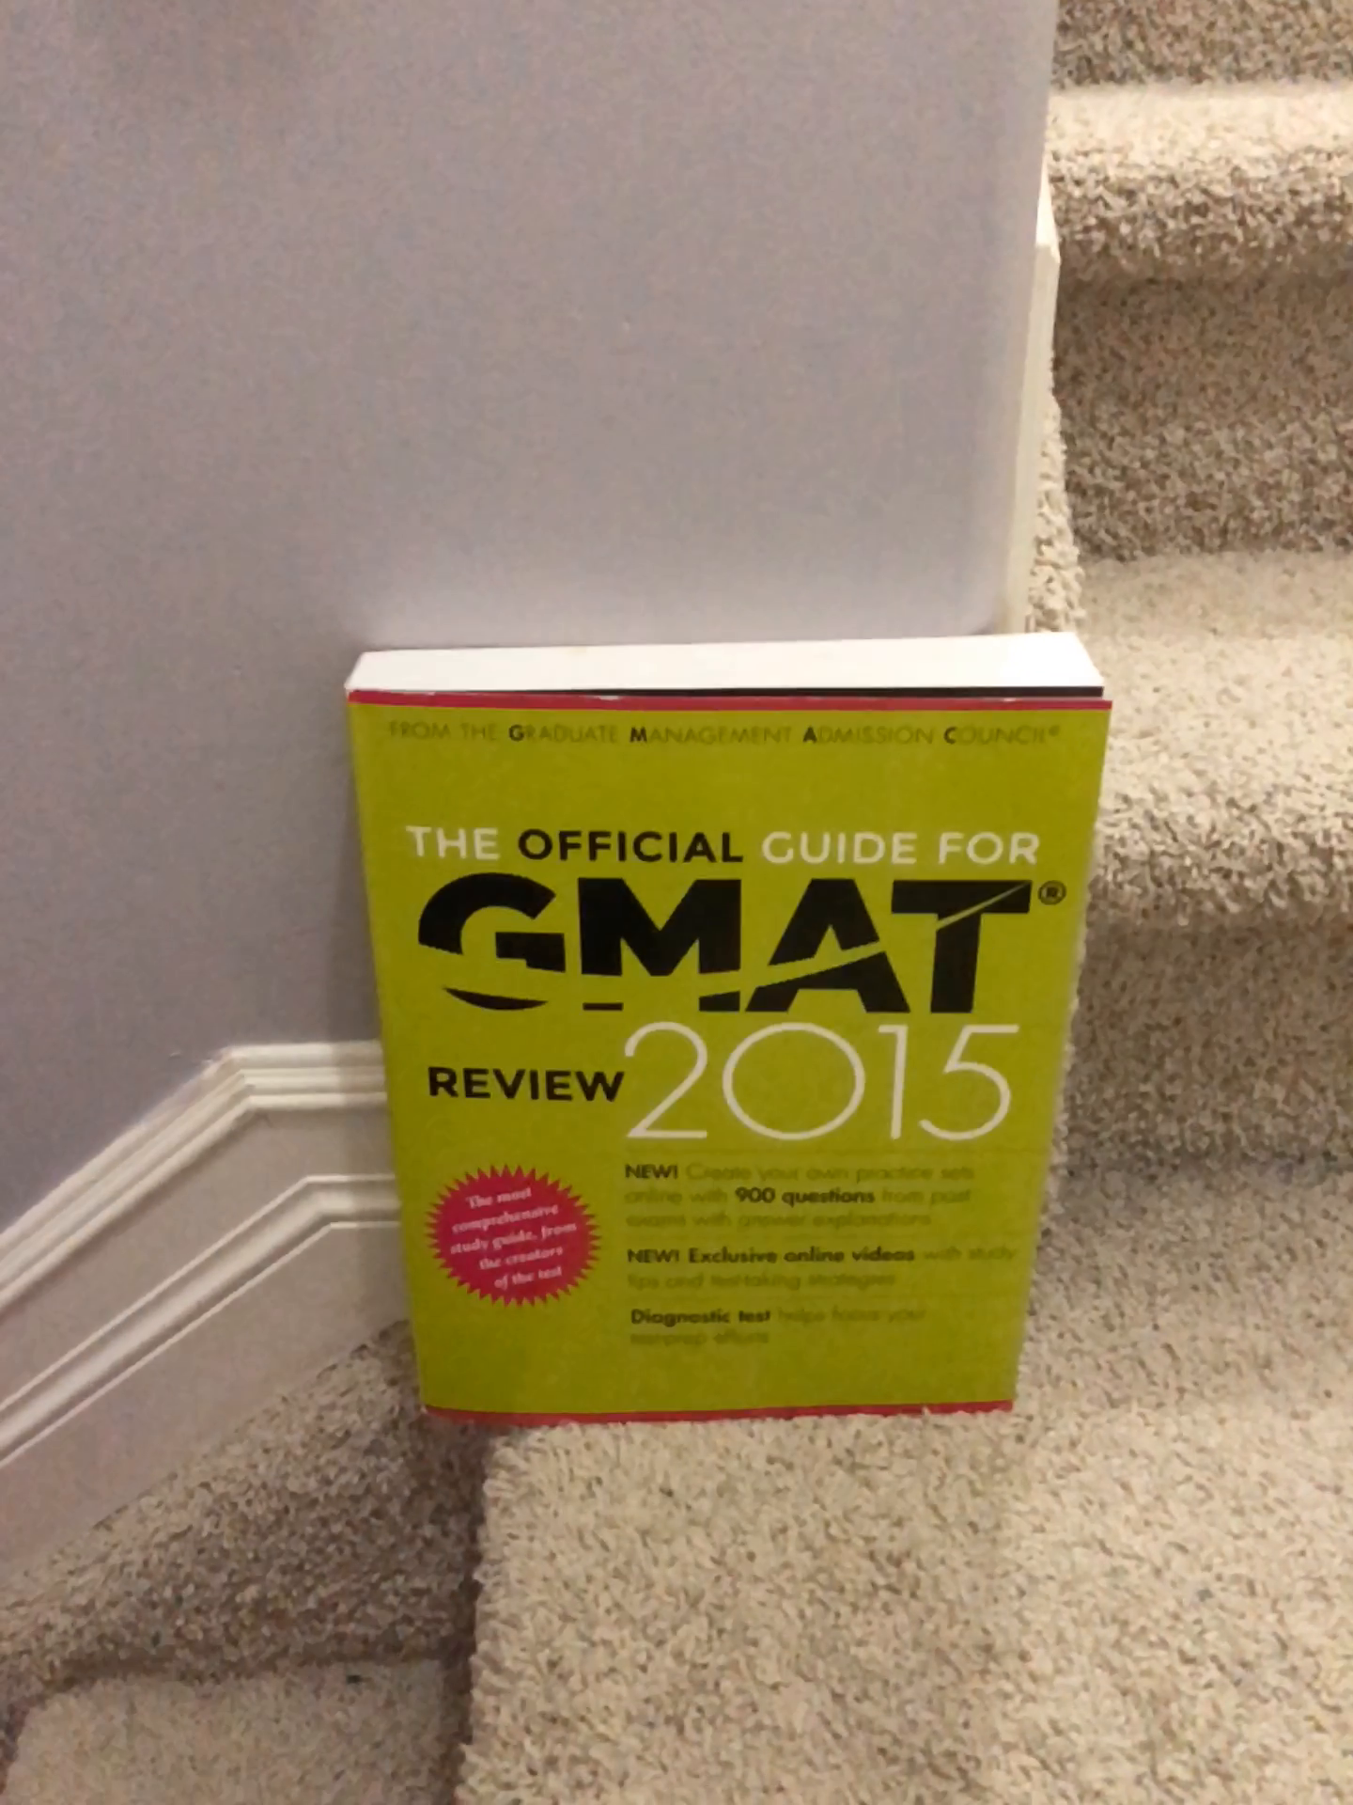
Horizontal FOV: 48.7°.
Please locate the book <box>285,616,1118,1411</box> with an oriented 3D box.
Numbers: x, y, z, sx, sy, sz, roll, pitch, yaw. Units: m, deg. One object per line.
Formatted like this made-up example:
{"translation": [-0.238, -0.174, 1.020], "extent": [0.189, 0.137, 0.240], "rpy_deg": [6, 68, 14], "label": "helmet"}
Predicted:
{"translation": [0.010, 0.049, 0.501], "extent": [0.235, 0.277, 0.040], "rpy_deg": [-2, 26, 0], "label": "book"}
